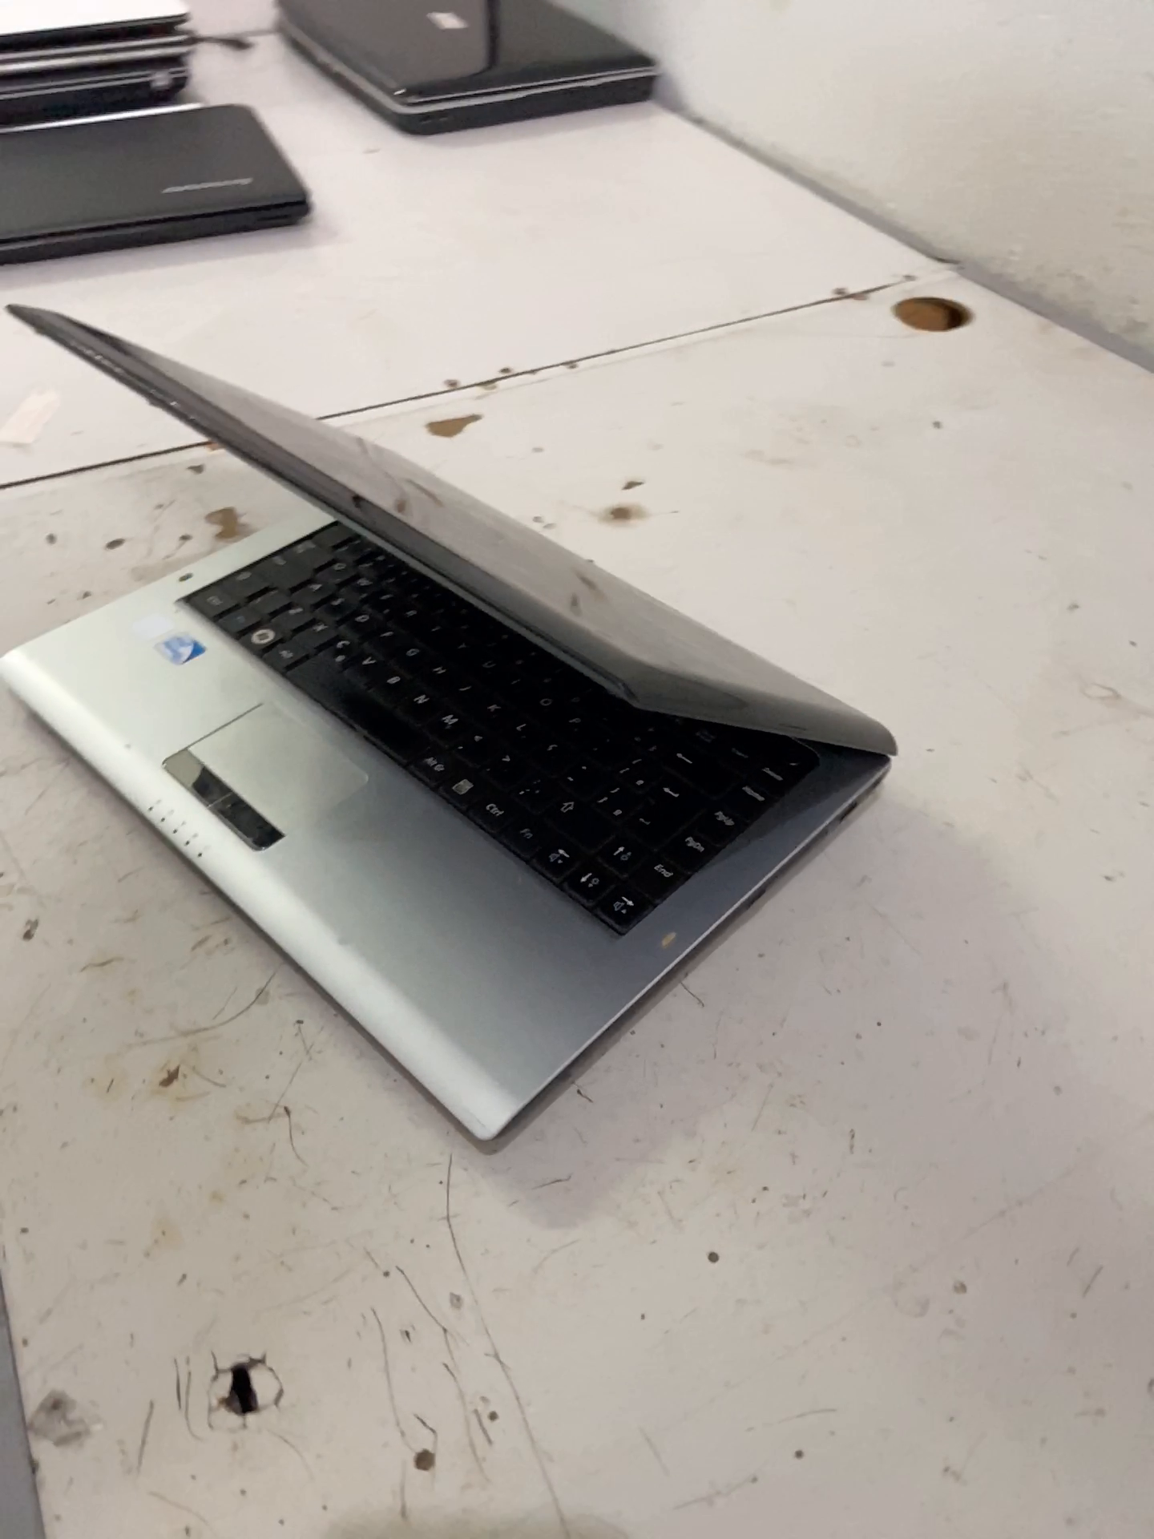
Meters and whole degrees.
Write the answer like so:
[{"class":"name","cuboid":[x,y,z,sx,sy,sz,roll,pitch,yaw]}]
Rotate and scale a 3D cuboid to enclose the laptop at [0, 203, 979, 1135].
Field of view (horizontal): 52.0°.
[{"class":"laptop","cuboid":[-0.068,-0.076,0.478,0.334,0.152,0.241,35,54,30]}]
